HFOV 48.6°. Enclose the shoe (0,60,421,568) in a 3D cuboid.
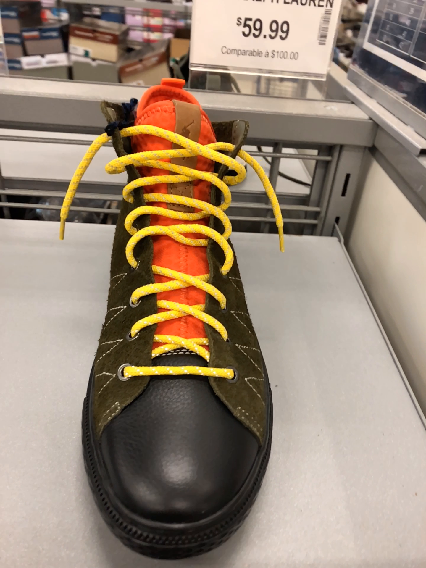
[{"bbox_3d":[-0.020,-0.020,0.304,0.125,0.171,0.300,1,34,-7],"label":"shoe"}]
